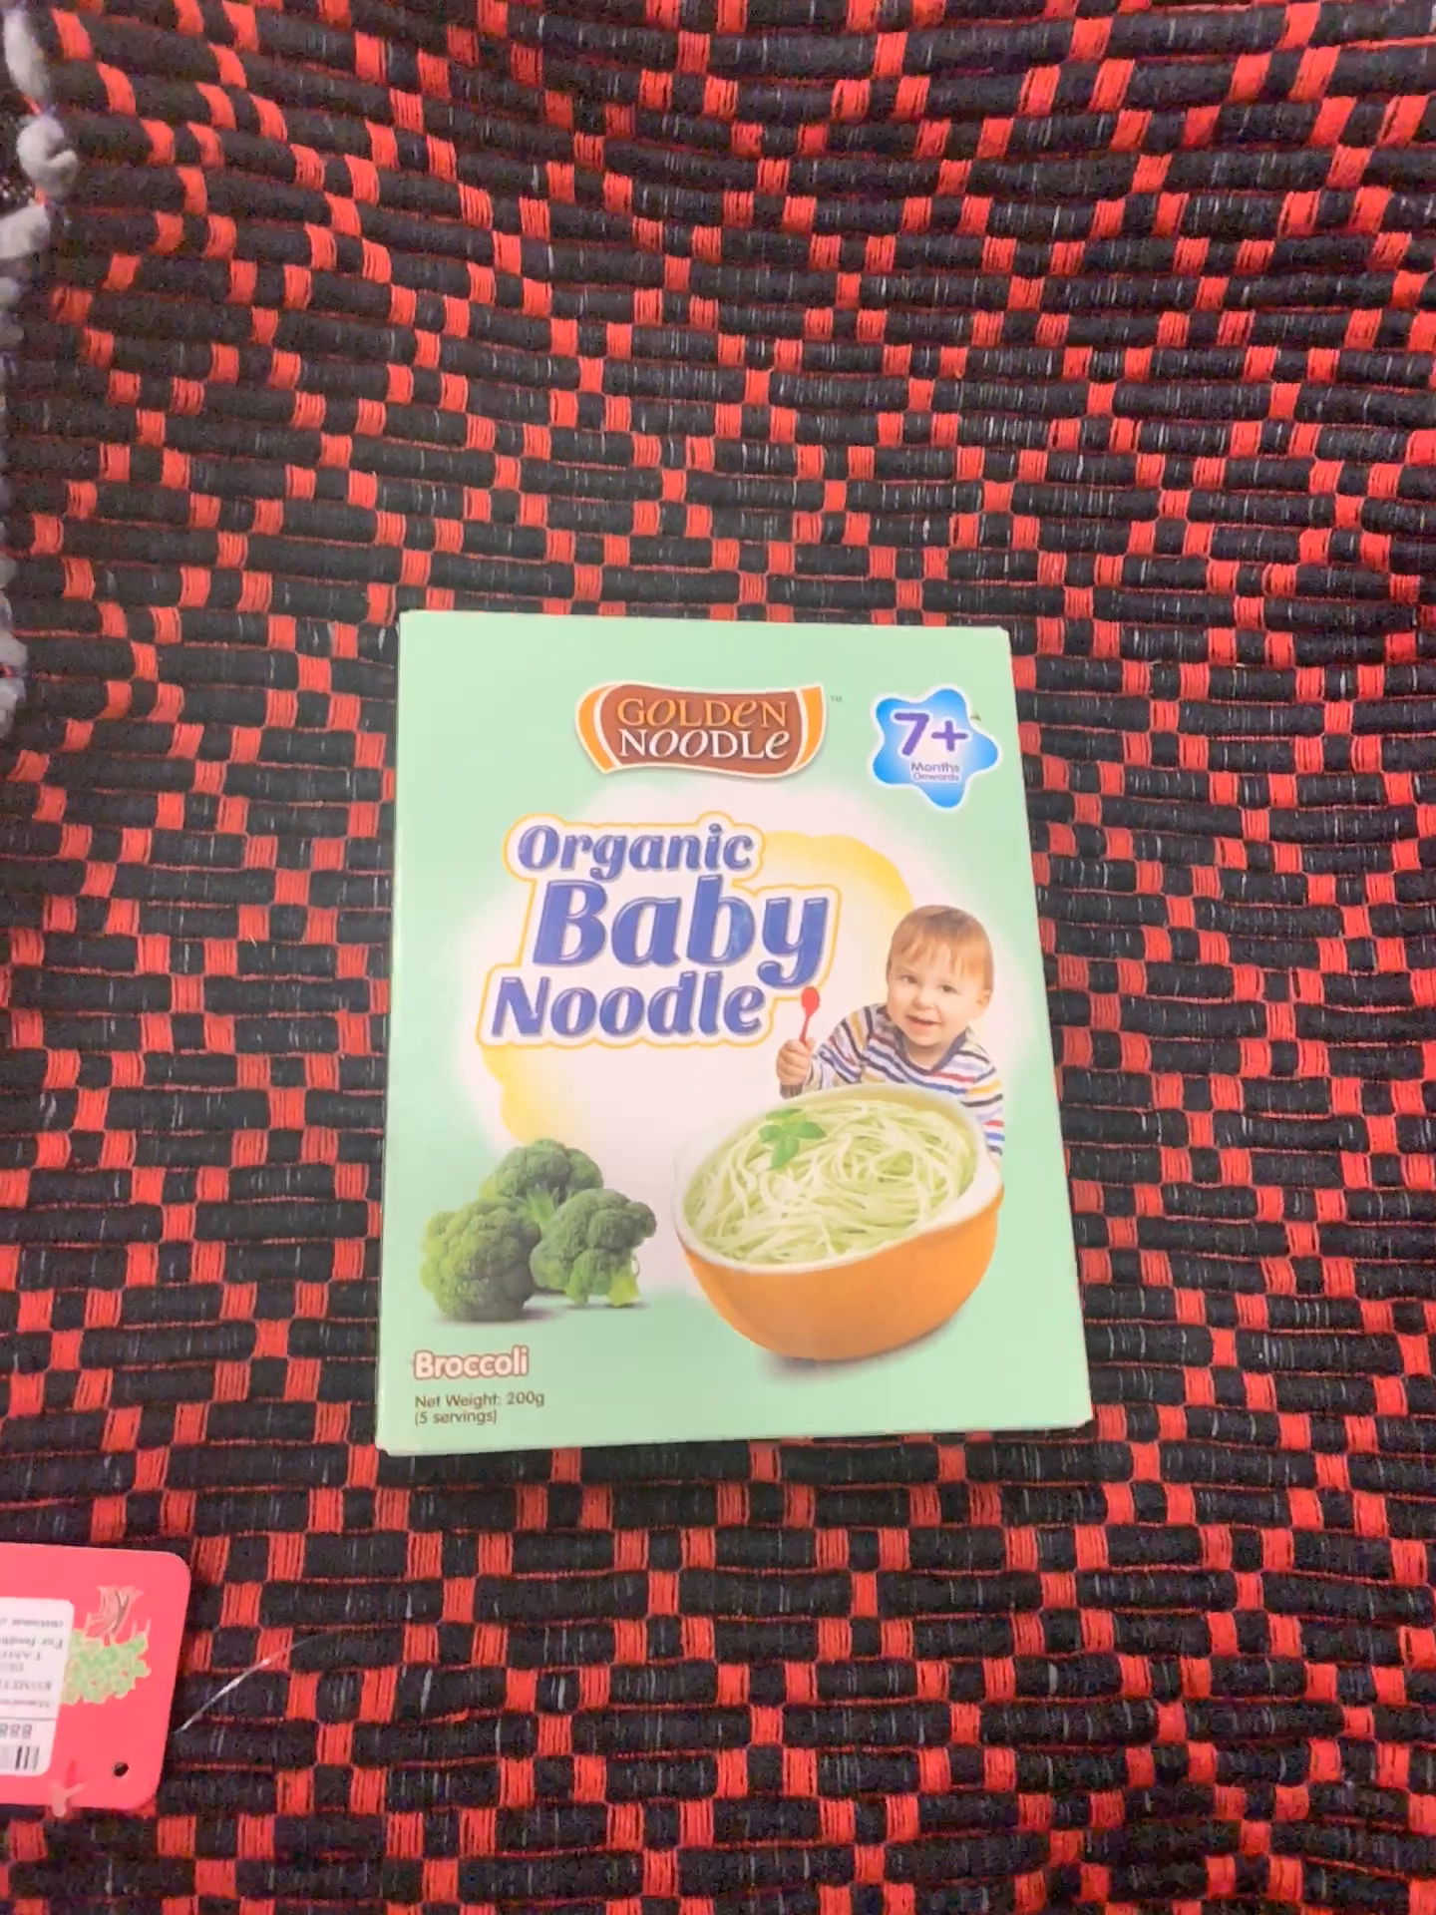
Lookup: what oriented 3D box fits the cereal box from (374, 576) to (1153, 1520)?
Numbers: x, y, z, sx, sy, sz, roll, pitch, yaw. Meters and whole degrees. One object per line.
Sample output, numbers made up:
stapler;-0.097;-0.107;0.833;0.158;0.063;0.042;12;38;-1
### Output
cereal box;0.003;0.017;0.296;0.130;0.060;0.170;0;73;-8
